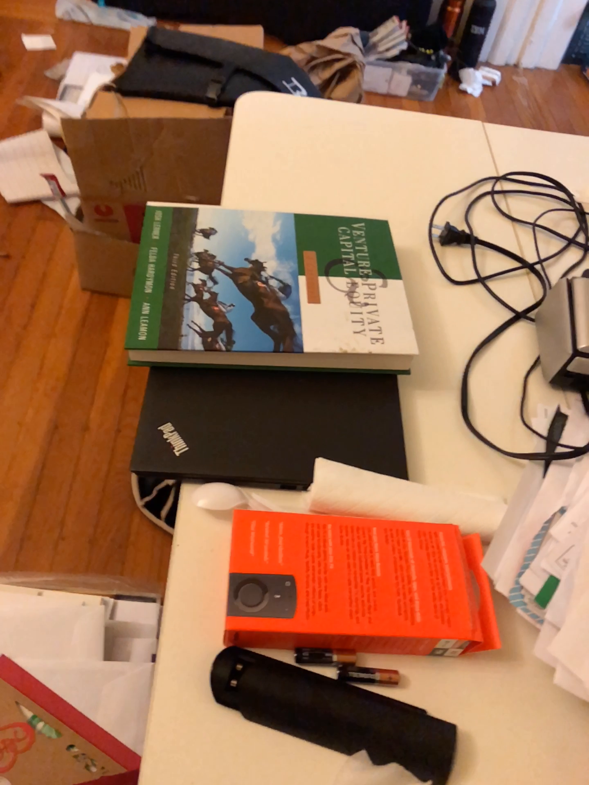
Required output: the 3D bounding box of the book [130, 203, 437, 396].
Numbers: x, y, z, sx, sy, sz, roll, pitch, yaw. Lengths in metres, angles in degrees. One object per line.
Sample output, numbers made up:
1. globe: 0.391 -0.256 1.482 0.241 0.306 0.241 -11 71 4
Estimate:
1. book: -0.012 -0.099 0.647 0.270 0.030 0.221 2 52 -7
